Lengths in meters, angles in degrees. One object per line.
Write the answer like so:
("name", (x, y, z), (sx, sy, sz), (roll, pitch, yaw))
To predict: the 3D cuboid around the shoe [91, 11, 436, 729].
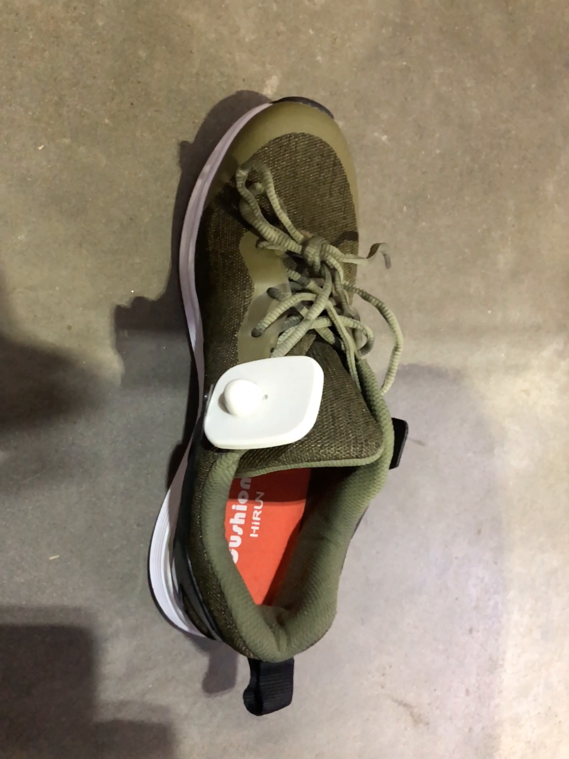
("shoe", (-0.013, -0.002, 0.327), (0.120, 0.100, 0.290), (6, 87, -28))
